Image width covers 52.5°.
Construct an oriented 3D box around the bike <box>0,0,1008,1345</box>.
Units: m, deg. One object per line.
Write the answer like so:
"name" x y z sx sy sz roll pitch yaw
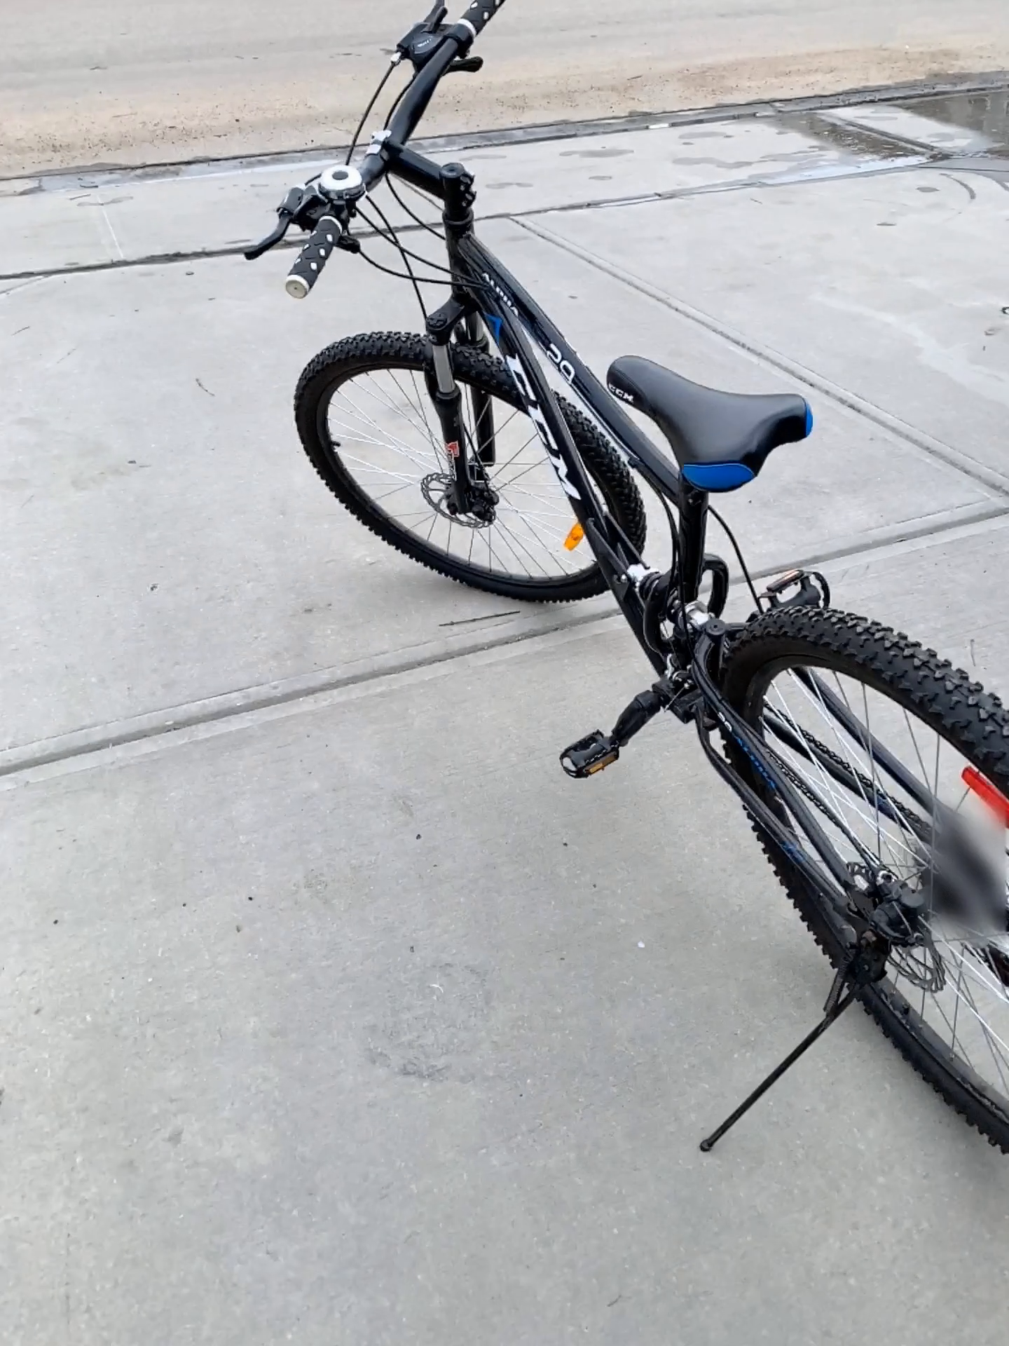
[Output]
"bike" 0.059 -0.115 1.319 0.628 1.173 1.795 -24 46 -26
